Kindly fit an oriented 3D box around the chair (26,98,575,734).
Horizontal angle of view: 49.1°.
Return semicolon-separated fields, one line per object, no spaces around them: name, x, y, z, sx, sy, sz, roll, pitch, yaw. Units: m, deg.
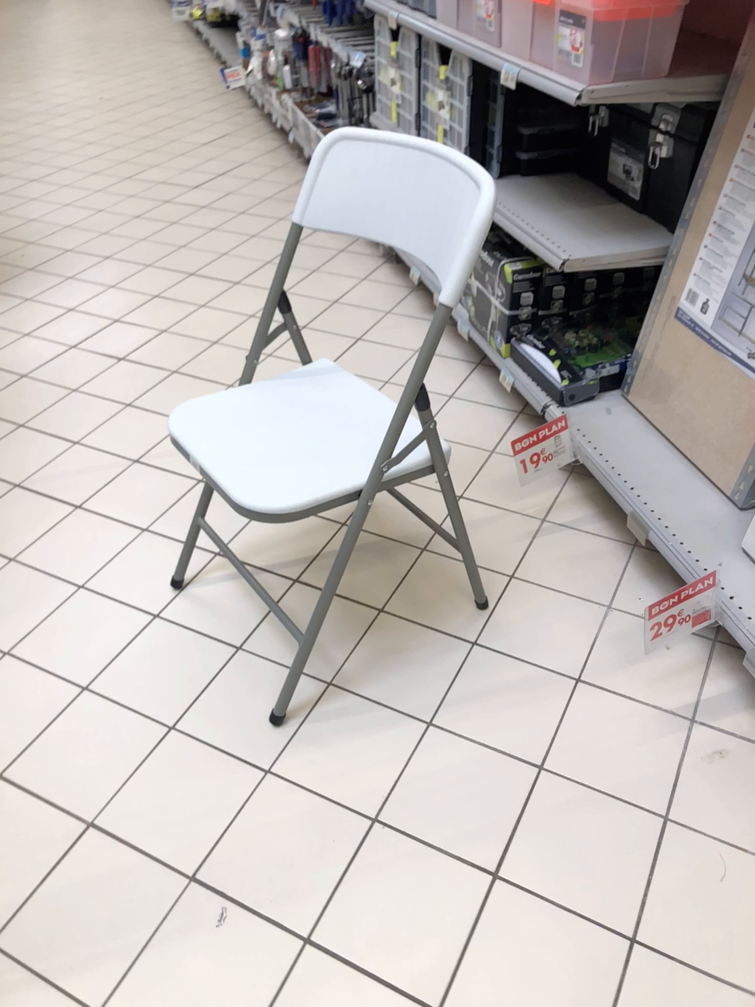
chair;-0.109;-0.173;1.365;0.562;0.746;0.541;-25;43;-25
